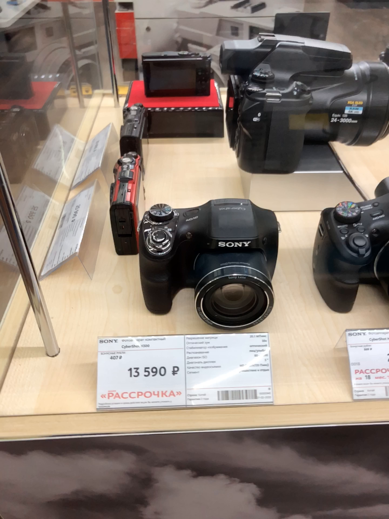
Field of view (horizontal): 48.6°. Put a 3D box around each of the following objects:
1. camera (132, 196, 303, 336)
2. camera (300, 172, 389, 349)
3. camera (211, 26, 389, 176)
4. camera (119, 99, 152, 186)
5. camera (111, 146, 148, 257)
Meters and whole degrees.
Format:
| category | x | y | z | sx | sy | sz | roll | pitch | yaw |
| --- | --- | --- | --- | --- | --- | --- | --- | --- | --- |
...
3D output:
| category | x | y | z | sx | sy | sz | roll | pitch | yaw |
| --- | --- | --- | --- | --- | --- | --- | --- | --- | --- |
| camera | 0.016 | 0.004 | 0.372 | 0.124 | 0.078 | 0.092 | -1 | 39 | 0 |
| camera | 0.175 | -0.003 | 0.379 | 0.124 | 0.097 | 0.125 | -1 | 39 | 0 |
| camera | 0.107 | -0.169 | 0.450 | 0.168 | 0.106 | 0.133 | -2 | 39 | -2 |
| camera | -0.074 | -0.153 | 0.557 | 0.026 | 0.069 | 0.112 | -1 | 39 | 0 |
| camera | -0.067 | -0.065 | 0.464 | 0.026 | 0.069 | 0.112 | -2 | 39 | -2 |
